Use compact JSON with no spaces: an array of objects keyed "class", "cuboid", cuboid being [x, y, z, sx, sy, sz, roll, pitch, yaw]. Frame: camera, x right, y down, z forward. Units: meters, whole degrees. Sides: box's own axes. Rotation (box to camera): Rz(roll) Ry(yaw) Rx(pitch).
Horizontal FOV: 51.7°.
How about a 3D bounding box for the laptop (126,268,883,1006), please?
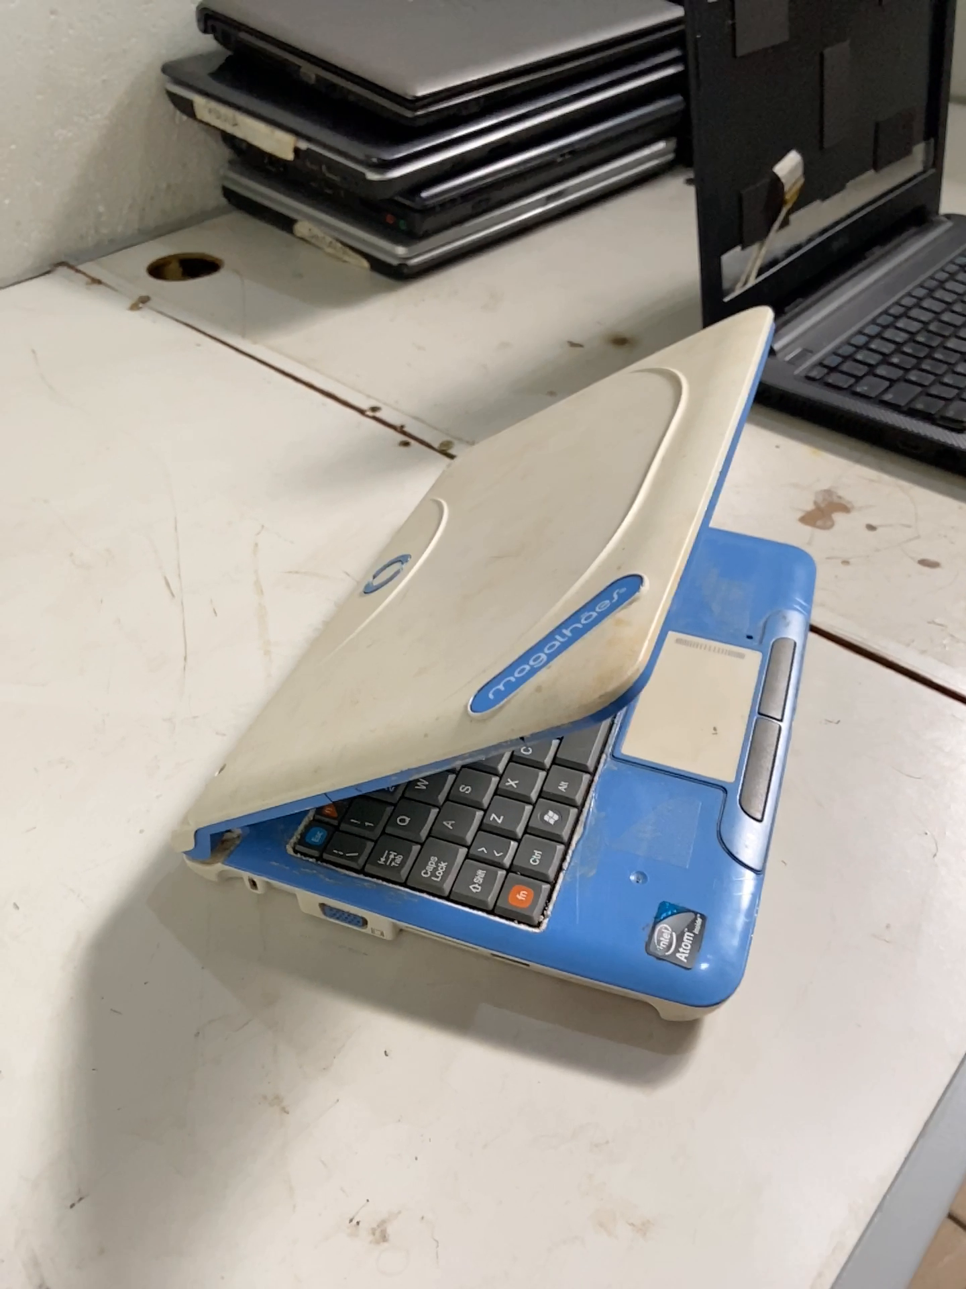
[{"class":"laptop","cuboid":[0.030,-0.029,0.381,0.182,0.116,0.248,14,44,16]}]
